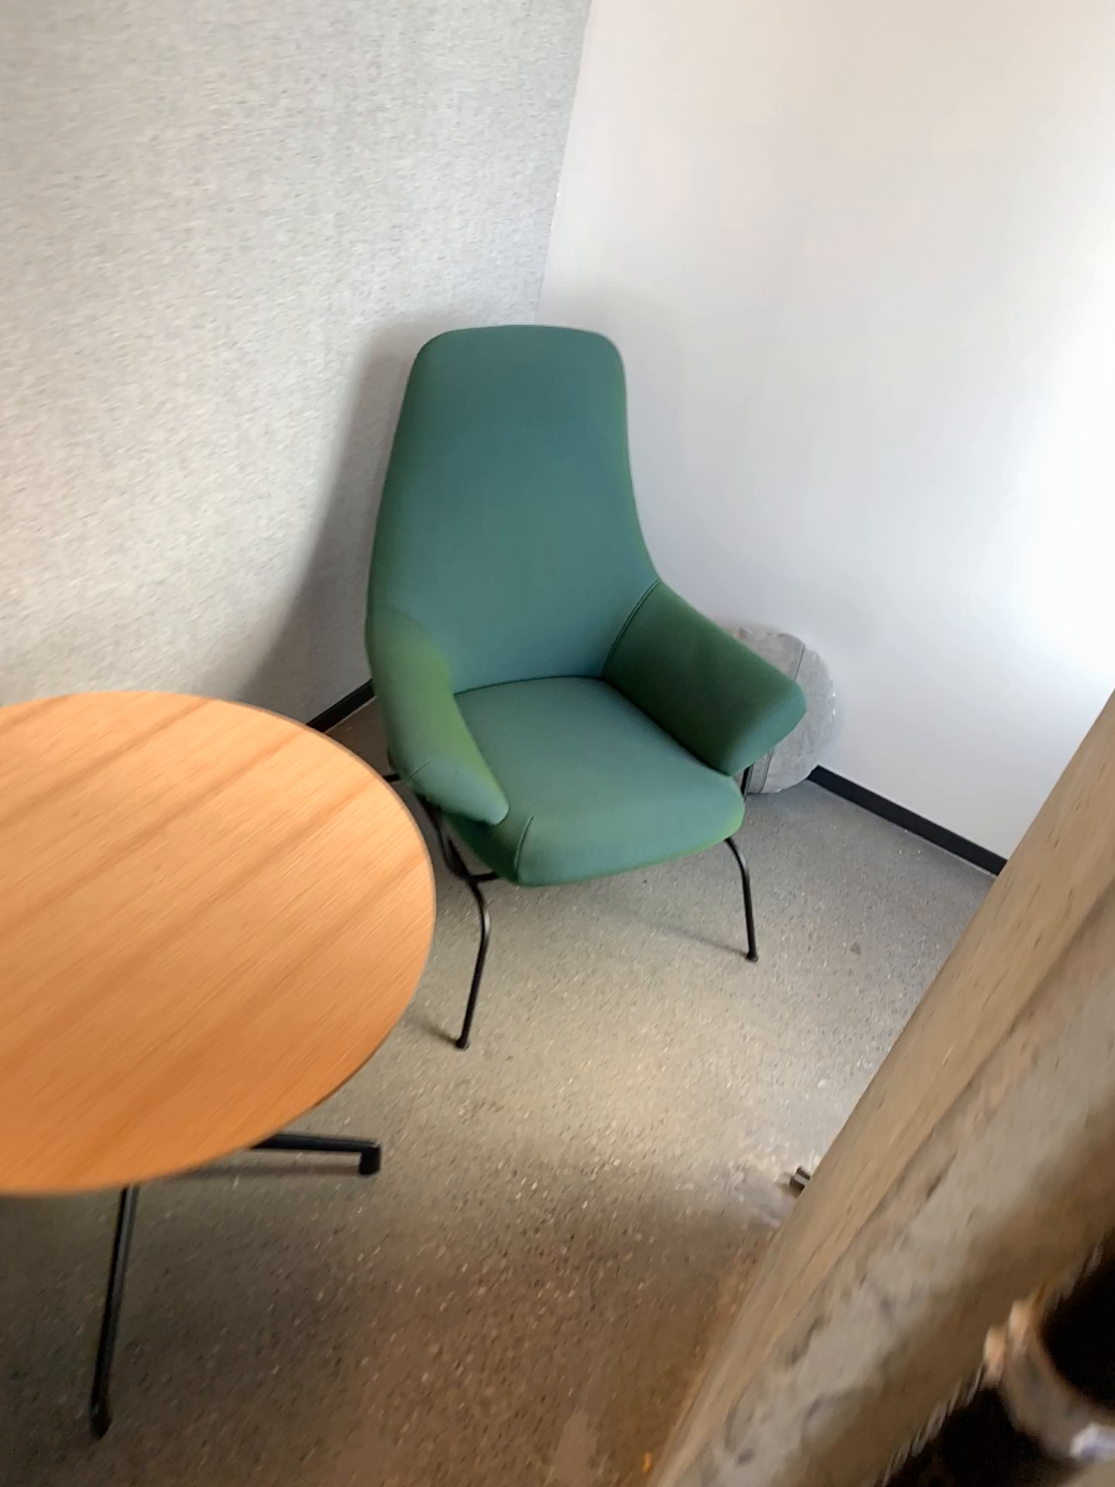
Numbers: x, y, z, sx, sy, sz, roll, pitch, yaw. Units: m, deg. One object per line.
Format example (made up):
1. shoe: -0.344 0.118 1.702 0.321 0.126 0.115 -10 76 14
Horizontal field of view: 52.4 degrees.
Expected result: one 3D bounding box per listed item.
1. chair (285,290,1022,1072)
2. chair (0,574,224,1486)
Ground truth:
1. chair: 0.037 -0.179 2.153 0.820 0.955 1.005 -10 45 -26
2. chair: -0.916 0.617 1.006 0.852 1.034 0.833 31 42 20
